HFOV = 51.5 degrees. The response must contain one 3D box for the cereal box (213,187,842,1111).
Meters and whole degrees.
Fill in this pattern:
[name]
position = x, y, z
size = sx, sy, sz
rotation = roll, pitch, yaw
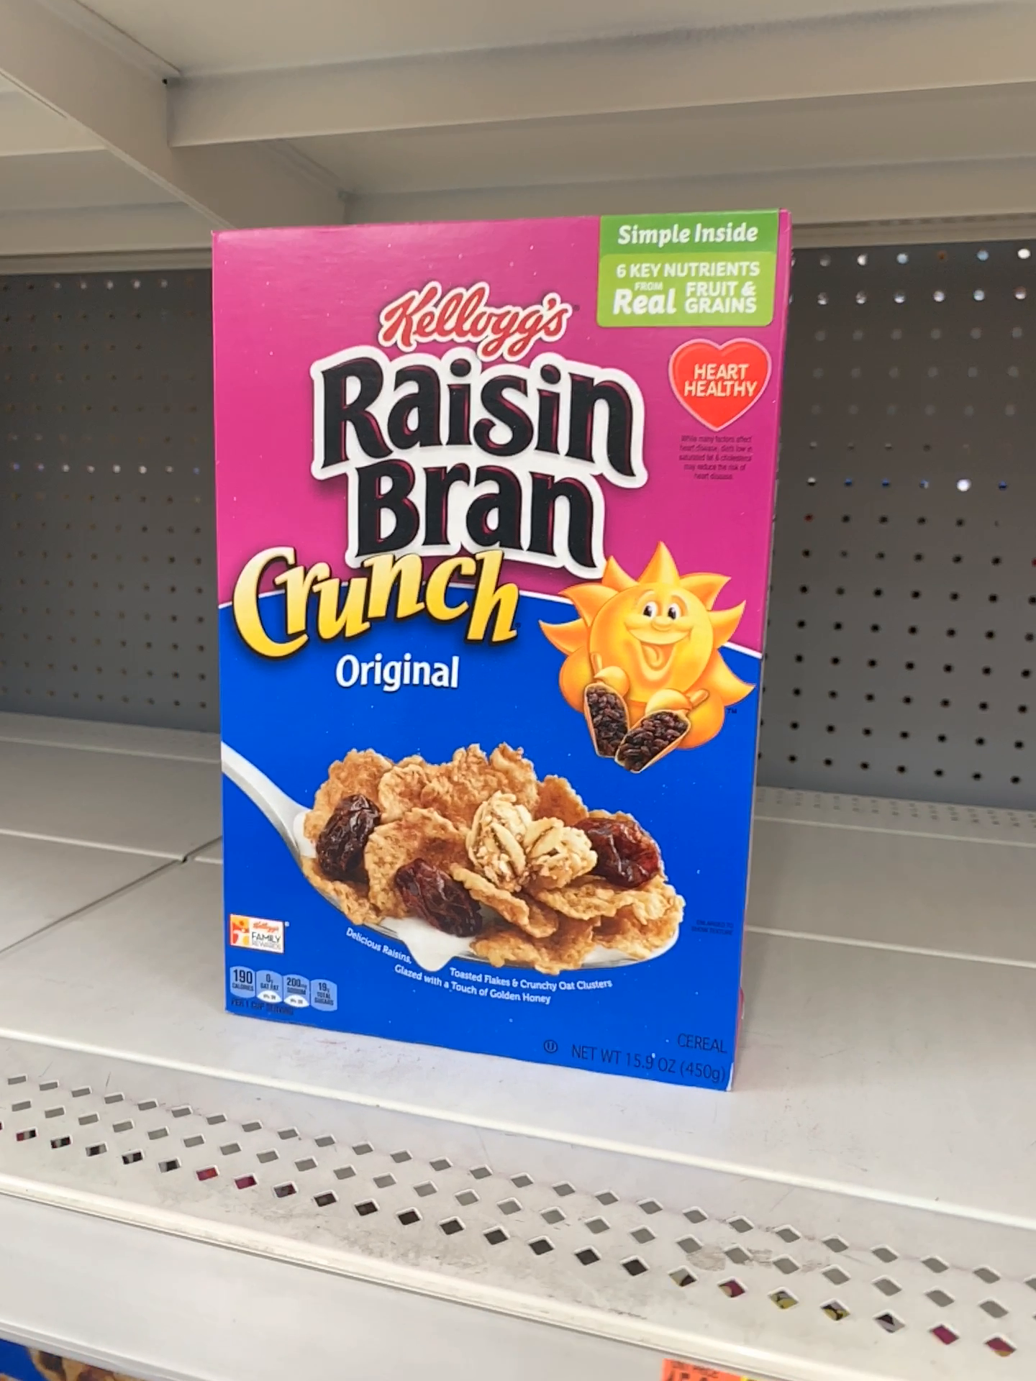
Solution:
[cereal box]
position = -0.001, -0.014, 0.374
size = 0.200, 0.279, 0.050
rotation = 4, 9, 16
